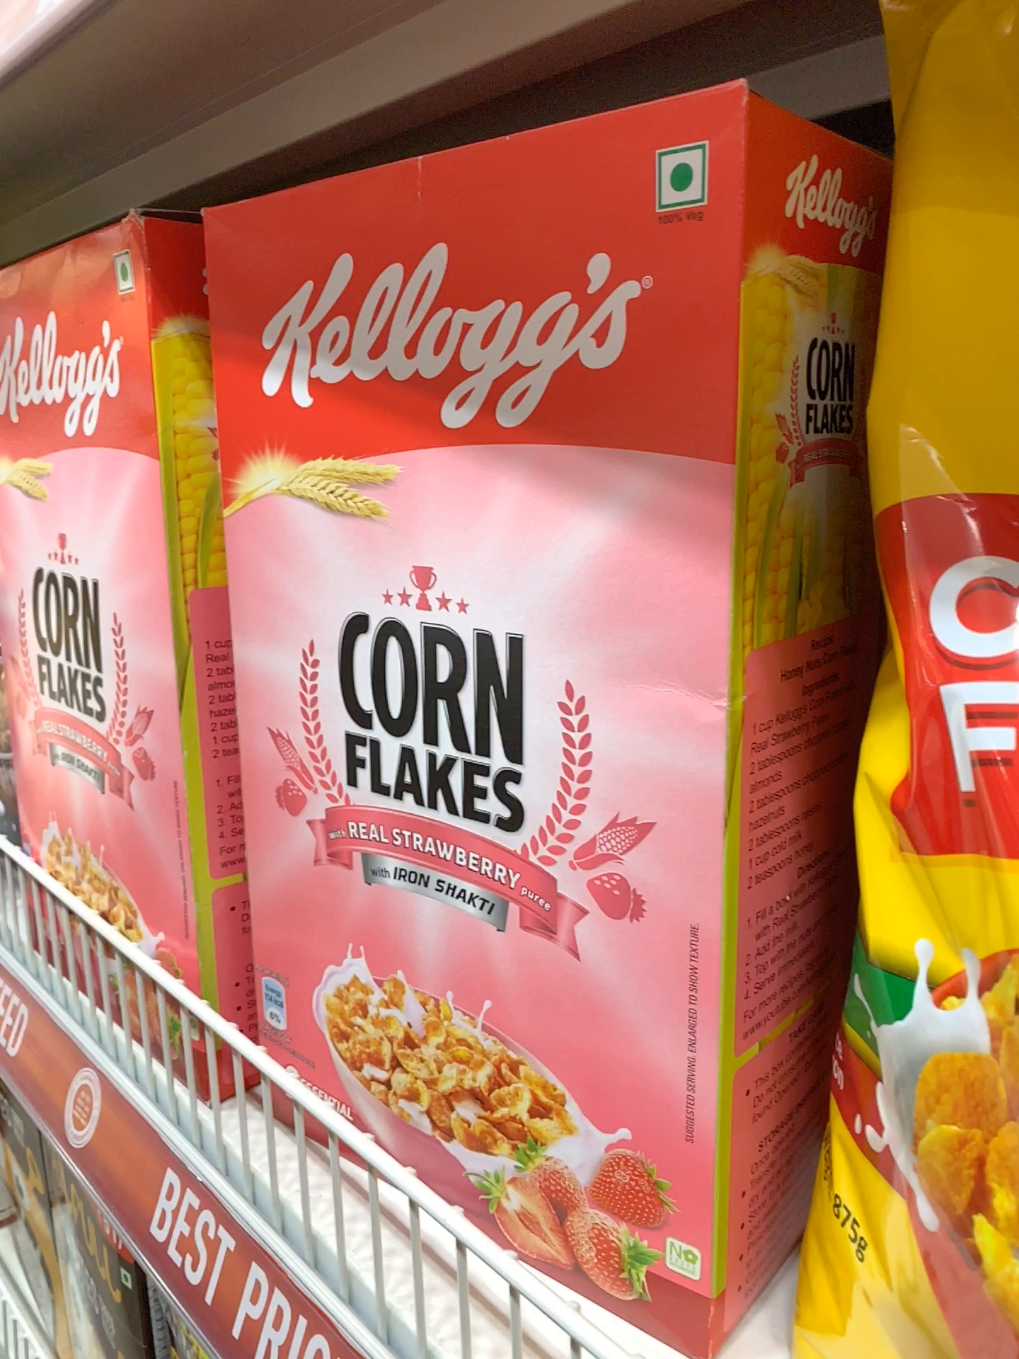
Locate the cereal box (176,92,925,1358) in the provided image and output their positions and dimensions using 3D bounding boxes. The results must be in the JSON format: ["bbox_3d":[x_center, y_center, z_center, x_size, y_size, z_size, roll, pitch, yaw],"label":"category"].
[{"bbox_3d":[0.006,0.013,0.295,0.170,0.269,0.090,8,14,38],"label":"cereal box"}]
